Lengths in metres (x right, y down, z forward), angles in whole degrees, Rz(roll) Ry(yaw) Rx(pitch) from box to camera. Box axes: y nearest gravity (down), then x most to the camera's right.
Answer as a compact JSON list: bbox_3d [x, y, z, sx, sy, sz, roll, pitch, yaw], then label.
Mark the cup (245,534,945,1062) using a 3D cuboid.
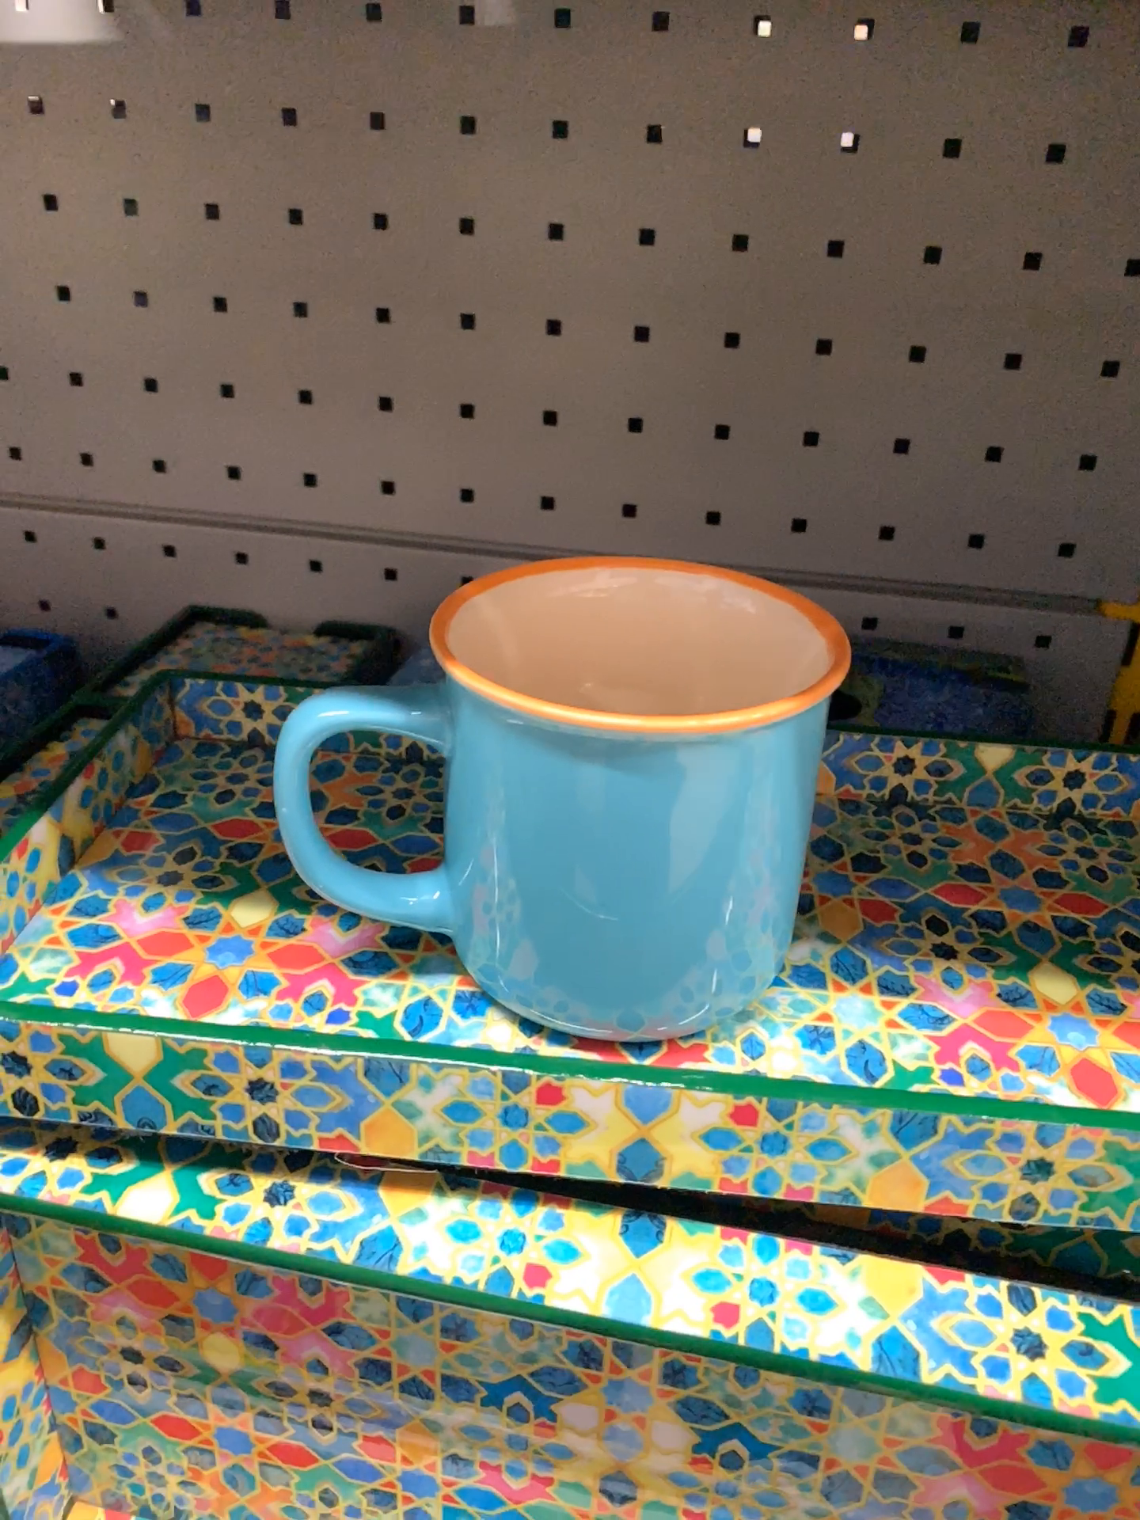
[{"bbox_3d":[0.002,0.005,0.260,0.120,0.080,0.090,1,28,-3],"label":"cup"}]
